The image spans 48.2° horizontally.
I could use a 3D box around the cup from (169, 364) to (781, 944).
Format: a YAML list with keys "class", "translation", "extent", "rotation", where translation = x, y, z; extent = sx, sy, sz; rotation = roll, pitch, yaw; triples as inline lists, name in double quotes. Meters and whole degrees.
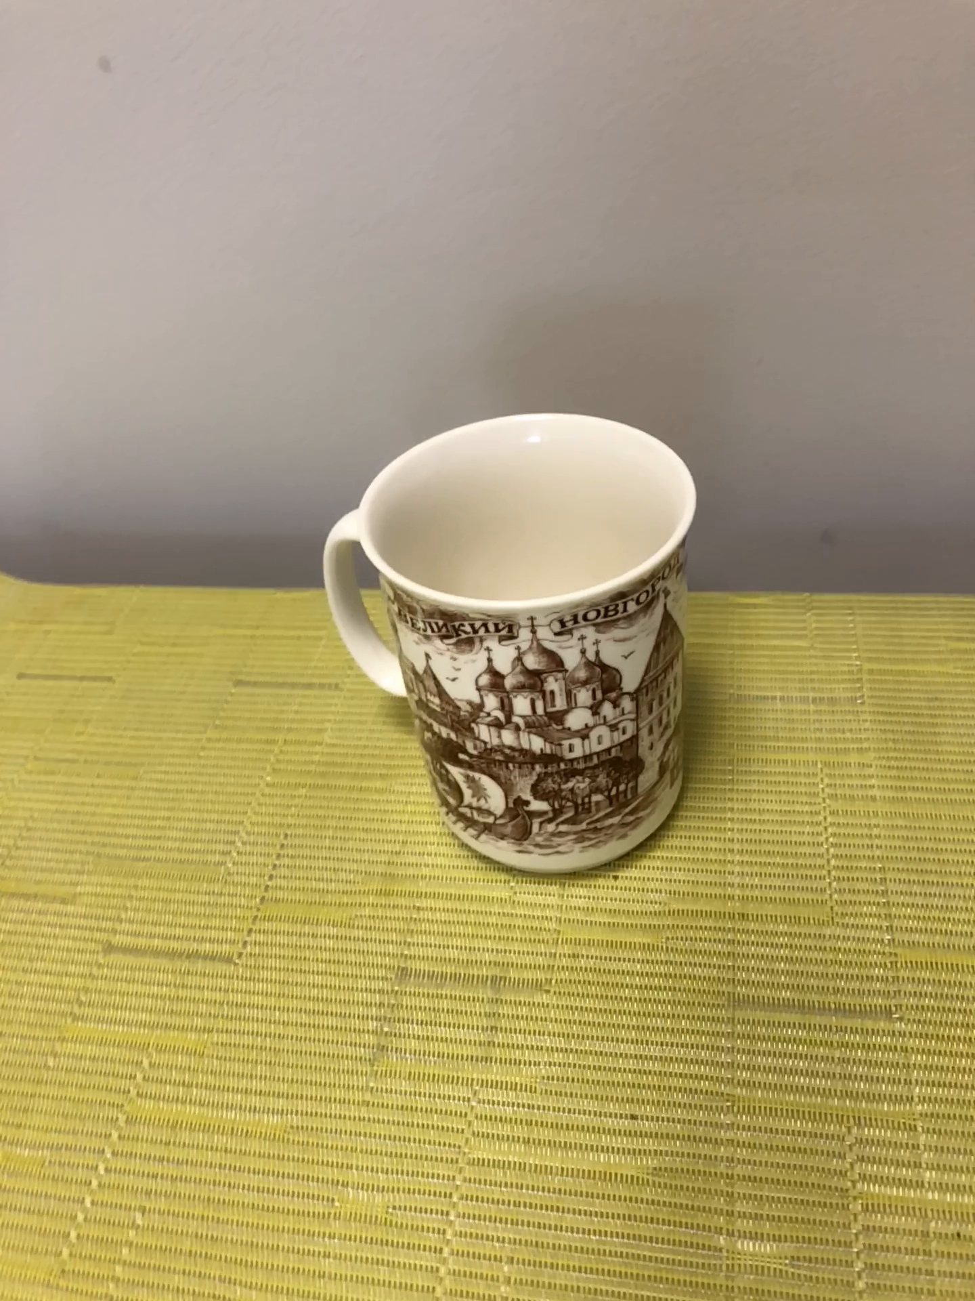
- class: "cup"
  translation: [0.001, -0.007, 0.305]
  extent: [0.124, 0.092, 0.094]
  rotation: [20, 48, 29]
